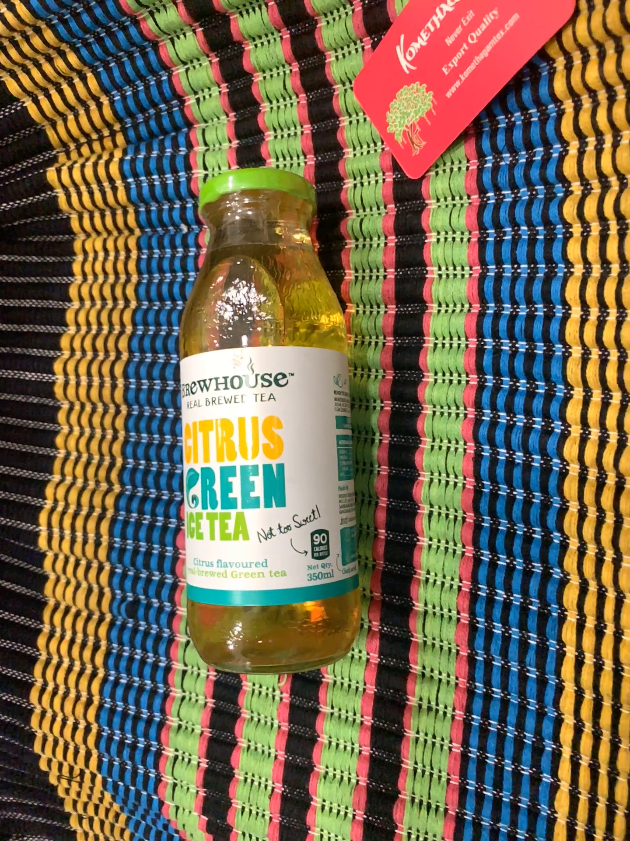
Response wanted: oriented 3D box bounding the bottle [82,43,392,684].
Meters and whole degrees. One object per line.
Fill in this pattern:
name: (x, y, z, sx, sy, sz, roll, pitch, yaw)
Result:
bottle: (-0.026, -0.015, 0.237, 0.080, 0.070, 0.190, -6, 84, 19)
